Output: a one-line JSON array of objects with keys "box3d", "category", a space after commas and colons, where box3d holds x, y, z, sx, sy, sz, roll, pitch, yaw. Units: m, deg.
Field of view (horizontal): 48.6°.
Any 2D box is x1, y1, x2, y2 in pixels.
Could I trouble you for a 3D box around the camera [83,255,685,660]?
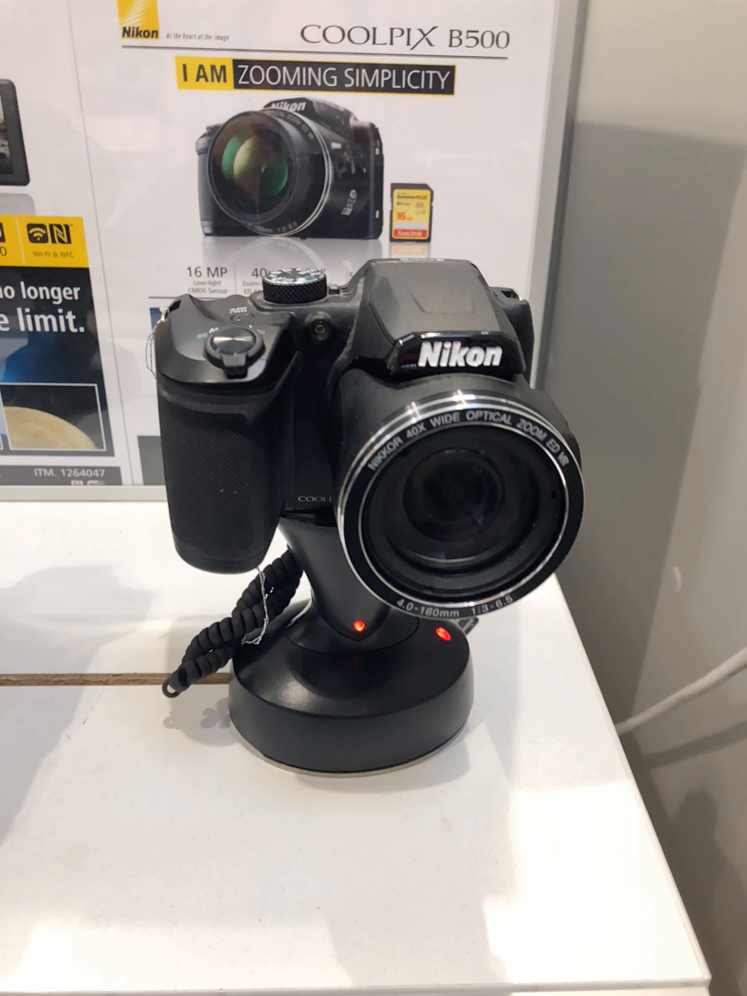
[{"box3d": [-0.001, -0.019, 0.224, 0.120, 0.070, 0.101, -2, 29, -5], "category": "camera"}]
